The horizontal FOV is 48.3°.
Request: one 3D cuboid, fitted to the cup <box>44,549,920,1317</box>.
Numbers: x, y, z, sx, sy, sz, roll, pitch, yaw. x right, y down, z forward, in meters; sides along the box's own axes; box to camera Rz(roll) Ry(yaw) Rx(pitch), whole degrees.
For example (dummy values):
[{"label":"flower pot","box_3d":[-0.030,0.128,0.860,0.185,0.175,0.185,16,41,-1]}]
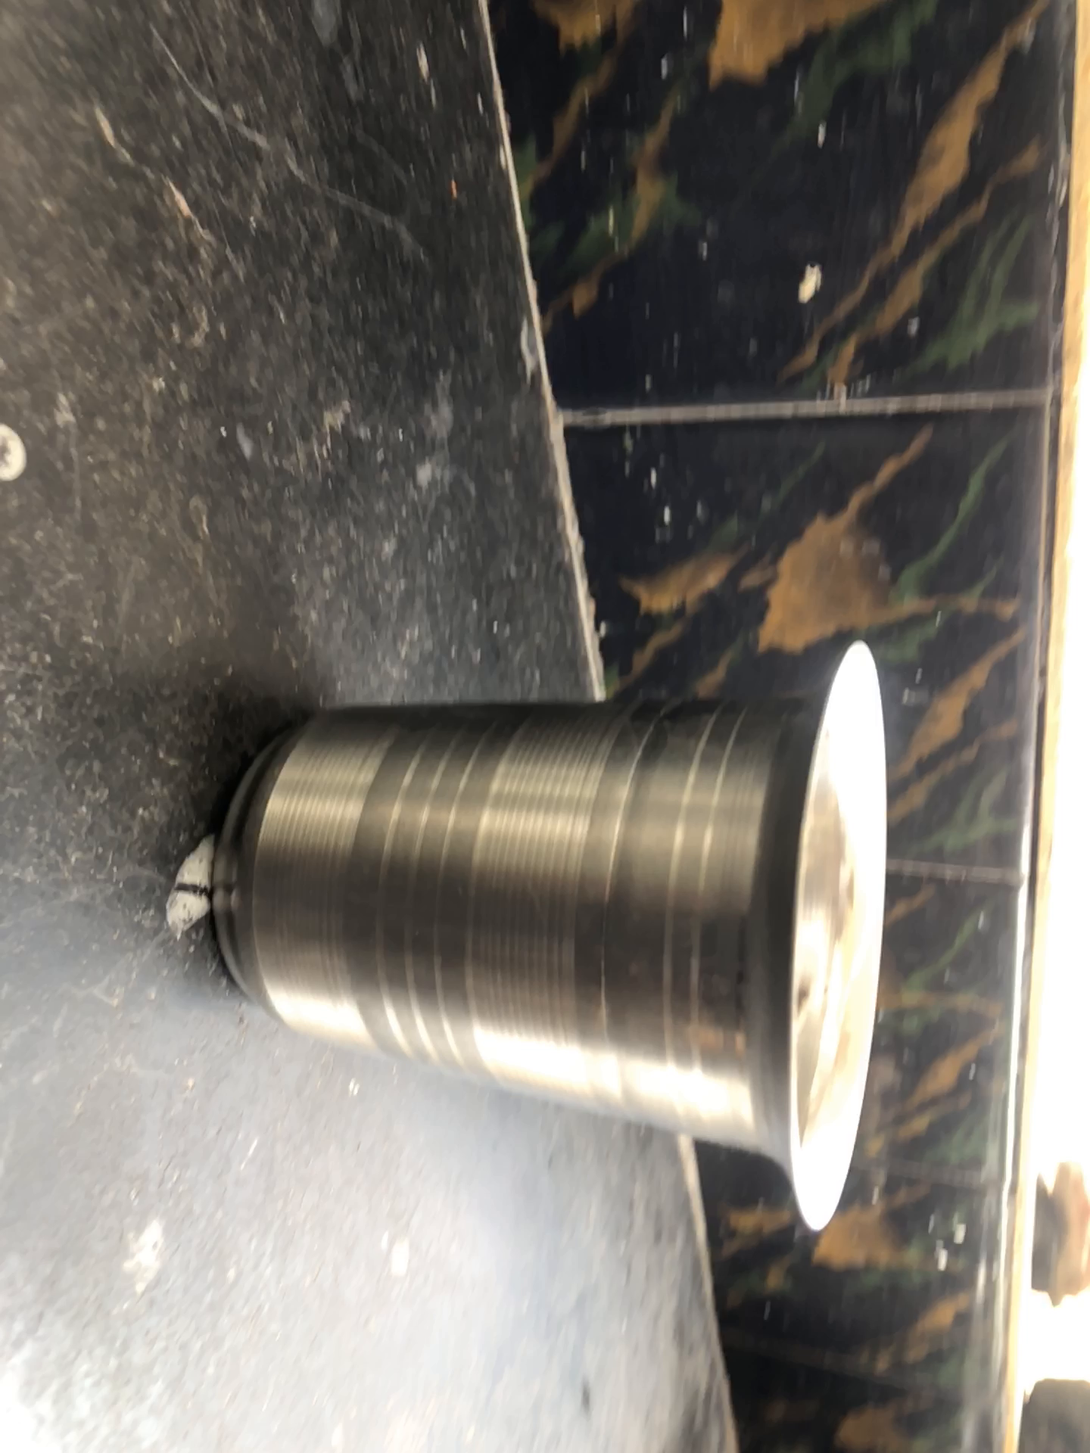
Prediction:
[{"label":"cup","box_3d":[0.003,0.033,0.213,0.090,0.109,0.090,3,90,-69]}]
